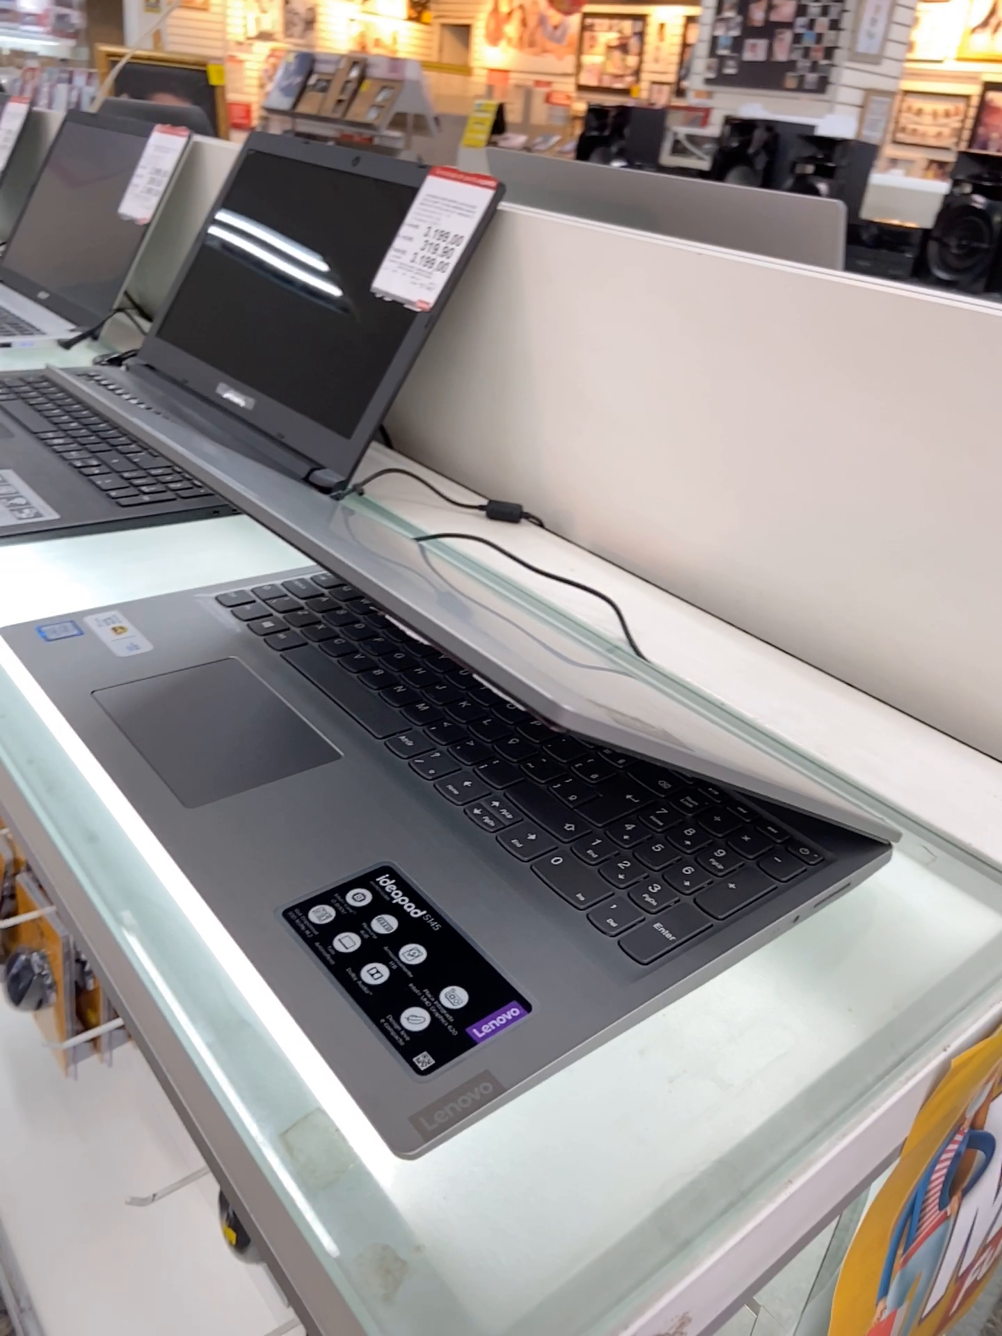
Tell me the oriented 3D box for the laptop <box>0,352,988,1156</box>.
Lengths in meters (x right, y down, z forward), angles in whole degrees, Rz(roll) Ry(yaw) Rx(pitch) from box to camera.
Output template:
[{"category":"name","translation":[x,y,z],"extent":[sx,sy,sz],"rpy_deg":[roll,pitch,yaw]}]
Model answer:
[{"category":"laptop","translation":[-0.041,-0.027,0.431],"extent":[0.239,0.122,0.355],"rpy_deg":[-17,35,-36]}]
